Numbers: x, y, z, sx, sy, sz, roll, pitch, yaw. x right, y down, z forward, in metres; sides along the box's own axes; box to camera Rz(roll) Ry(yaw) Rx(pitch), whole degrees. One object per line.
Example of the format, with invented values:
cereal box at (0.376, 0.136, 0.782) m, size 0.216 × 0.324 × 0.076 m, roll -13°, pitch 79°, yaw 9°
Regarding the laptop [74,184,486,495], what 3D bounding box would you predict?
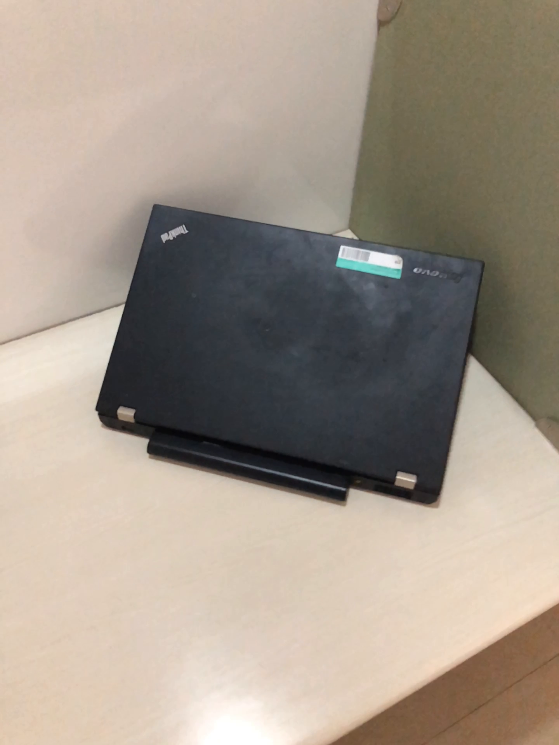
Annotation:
laptop at (0.011, -0.047, 0.659) m, size 0.354 × 0.140 × 0.233 m, roll 12°, pitch 53°, yaw 10°
